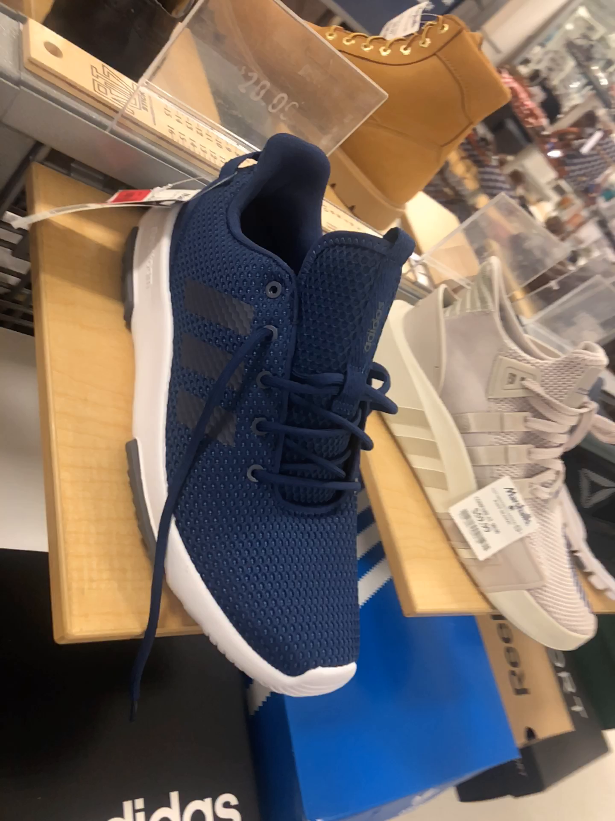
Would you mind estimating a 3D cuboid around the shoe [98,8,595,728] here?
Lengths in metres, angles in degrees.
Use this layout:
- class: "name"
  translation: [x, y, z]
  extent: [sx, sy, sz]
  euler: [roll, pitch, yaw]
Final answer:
- class: "shoe"
  translation: [-0.005, -0.025, 0.349]
  extent: [0.113, 0.145, 0.304]
  euler: [16, 50, -45]
